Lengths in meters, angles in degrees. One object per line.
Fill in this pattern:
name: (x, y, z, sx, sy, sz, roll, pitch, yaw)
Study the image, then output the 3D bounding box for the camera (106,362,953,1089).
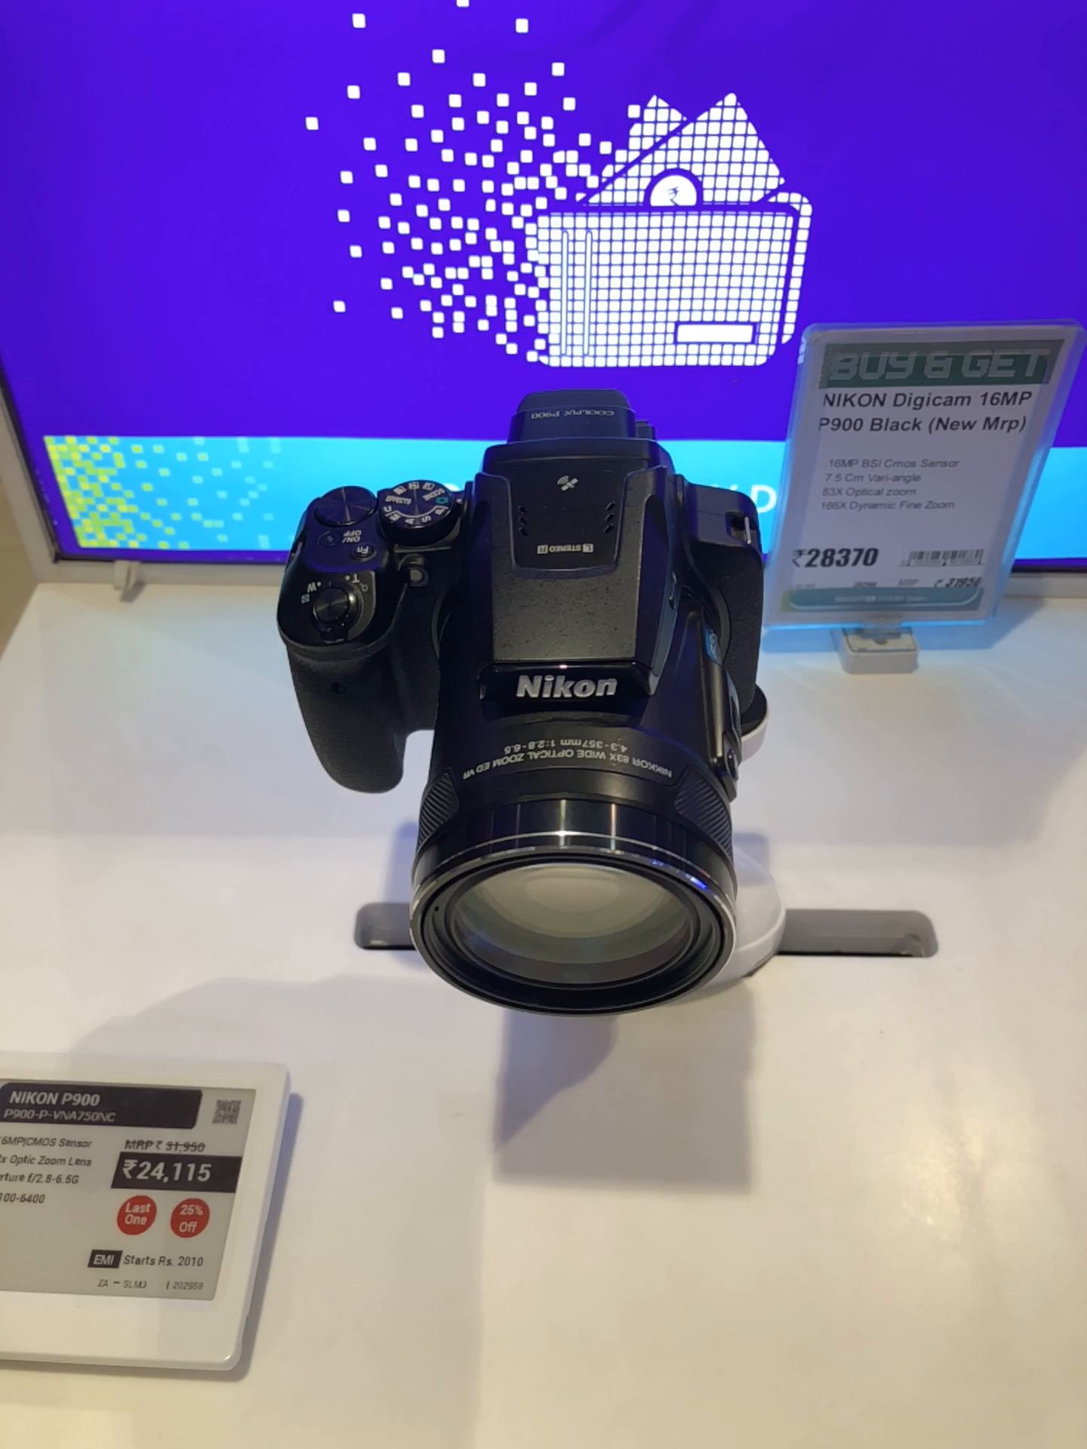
camera: (-0.002, -0.005, 0.284, 0.140, 0.099, 0.141, 1, 44, 0)
